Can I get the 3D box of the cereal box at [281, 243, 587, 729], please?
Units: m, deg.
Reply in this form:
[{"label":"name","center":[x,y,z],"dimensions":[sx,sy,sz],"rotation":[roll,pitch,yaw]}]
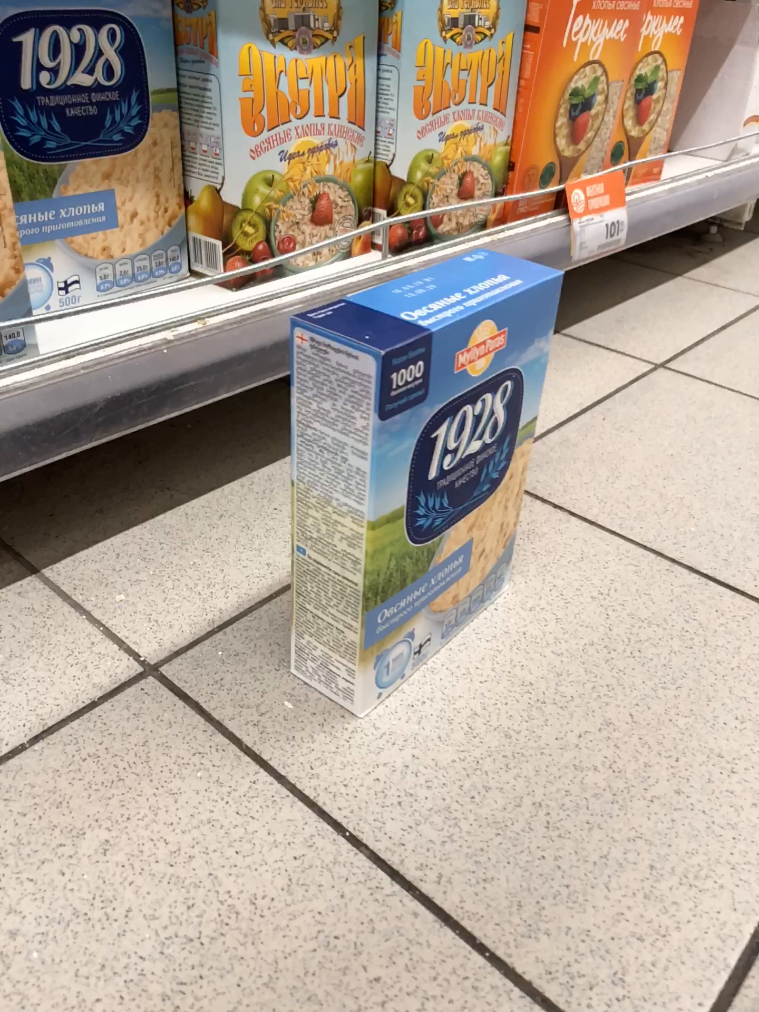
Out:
[{"label":"cereal box","center":[0.025,-0.013,0.429],"dimensions":[0.060,0.199,0.151],"rotation":[27,40,30]}]
